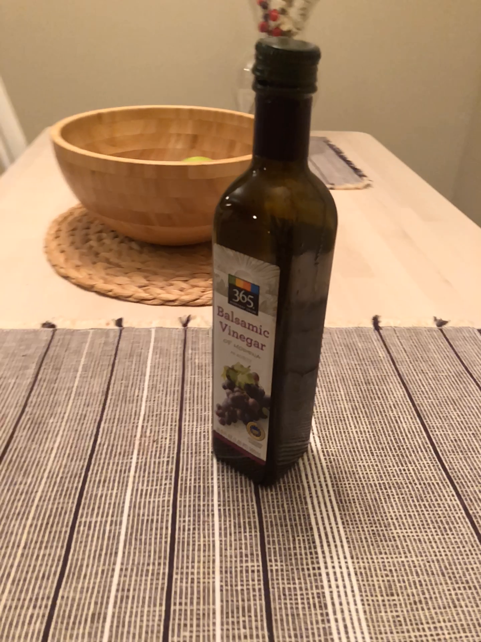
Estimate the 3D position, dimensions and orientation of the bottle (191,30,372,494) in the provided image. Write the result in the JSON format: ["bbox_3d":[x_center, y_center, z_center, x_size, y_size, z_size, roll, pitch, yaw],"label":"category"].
[{"bbox_3d":[0.015,-0.021,0.314,0.060,0.261,0.060,2,31,-1],"label":"bottle"}]
